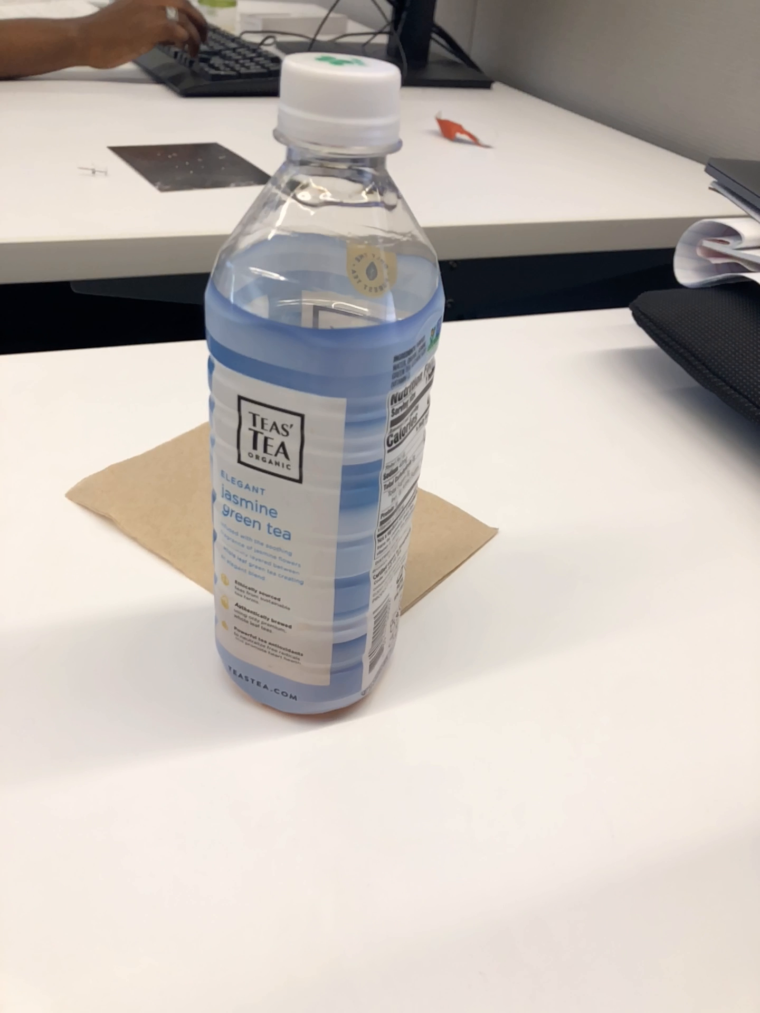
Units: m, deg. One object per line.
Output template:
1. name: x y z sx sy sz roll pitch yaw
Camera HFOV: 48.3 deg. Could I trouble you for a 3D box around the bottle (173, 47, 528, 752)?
1. bottle: -0.014 -0.027 0.279 0.070 0.209 0.070 4 34 -3
